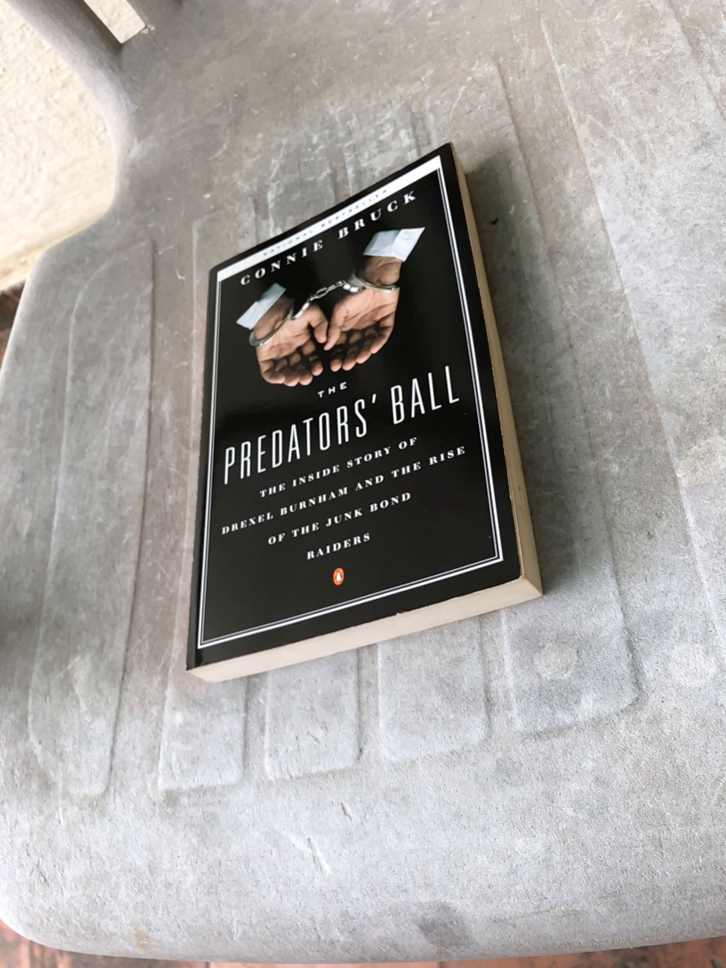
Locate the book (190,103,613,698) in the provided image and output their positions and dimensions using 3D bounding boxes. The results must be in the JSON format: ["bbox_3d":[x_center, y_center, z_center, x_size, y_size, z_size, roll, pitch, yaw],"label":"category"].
[{"bbox_3d":[0.002,-0.038,0.318,0.140,0.030,0.210,-20,55,25],"label":"book"}]
